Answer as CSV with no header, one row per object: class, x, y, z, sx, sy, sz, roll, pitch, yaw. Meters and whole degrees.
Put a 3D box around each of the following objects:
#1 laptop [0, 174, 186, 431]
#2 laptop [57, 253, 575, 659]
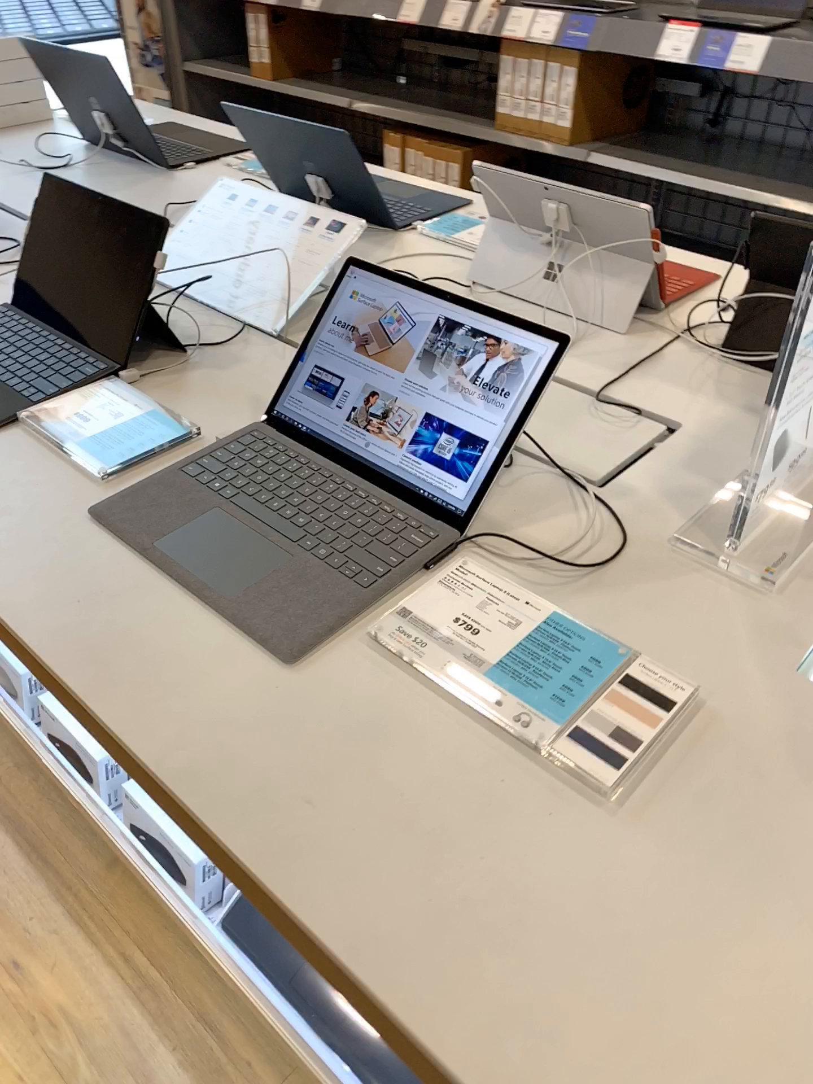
laptop,-0.494,-0.322,1.055,0.290,0.157,0.291,28,47,30
laptop,-0.077,-0.117,0.812,0.297,0.148,0.375,30,49,32
